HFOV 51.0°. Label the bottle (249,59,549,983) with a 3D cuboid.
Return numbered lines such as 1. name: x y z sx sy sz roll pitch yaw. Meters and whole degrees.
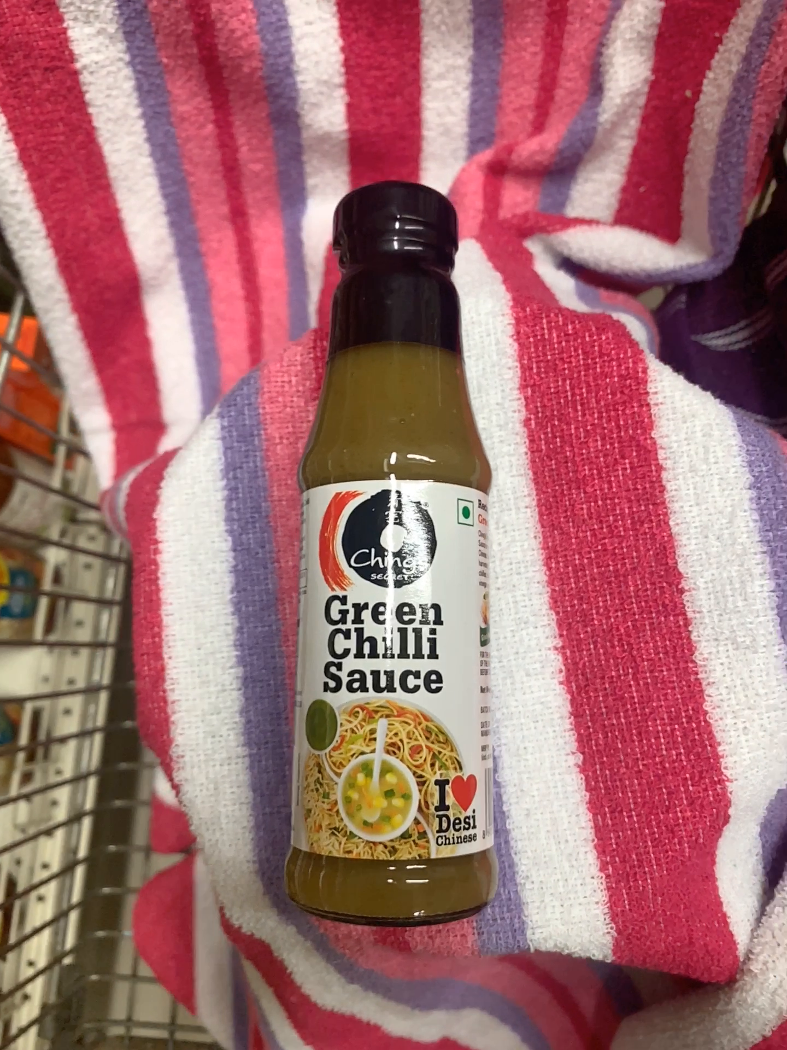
1. bottle: 0.004 -0.004 0.177 0.050 0.050 0.170 -2 78 11
